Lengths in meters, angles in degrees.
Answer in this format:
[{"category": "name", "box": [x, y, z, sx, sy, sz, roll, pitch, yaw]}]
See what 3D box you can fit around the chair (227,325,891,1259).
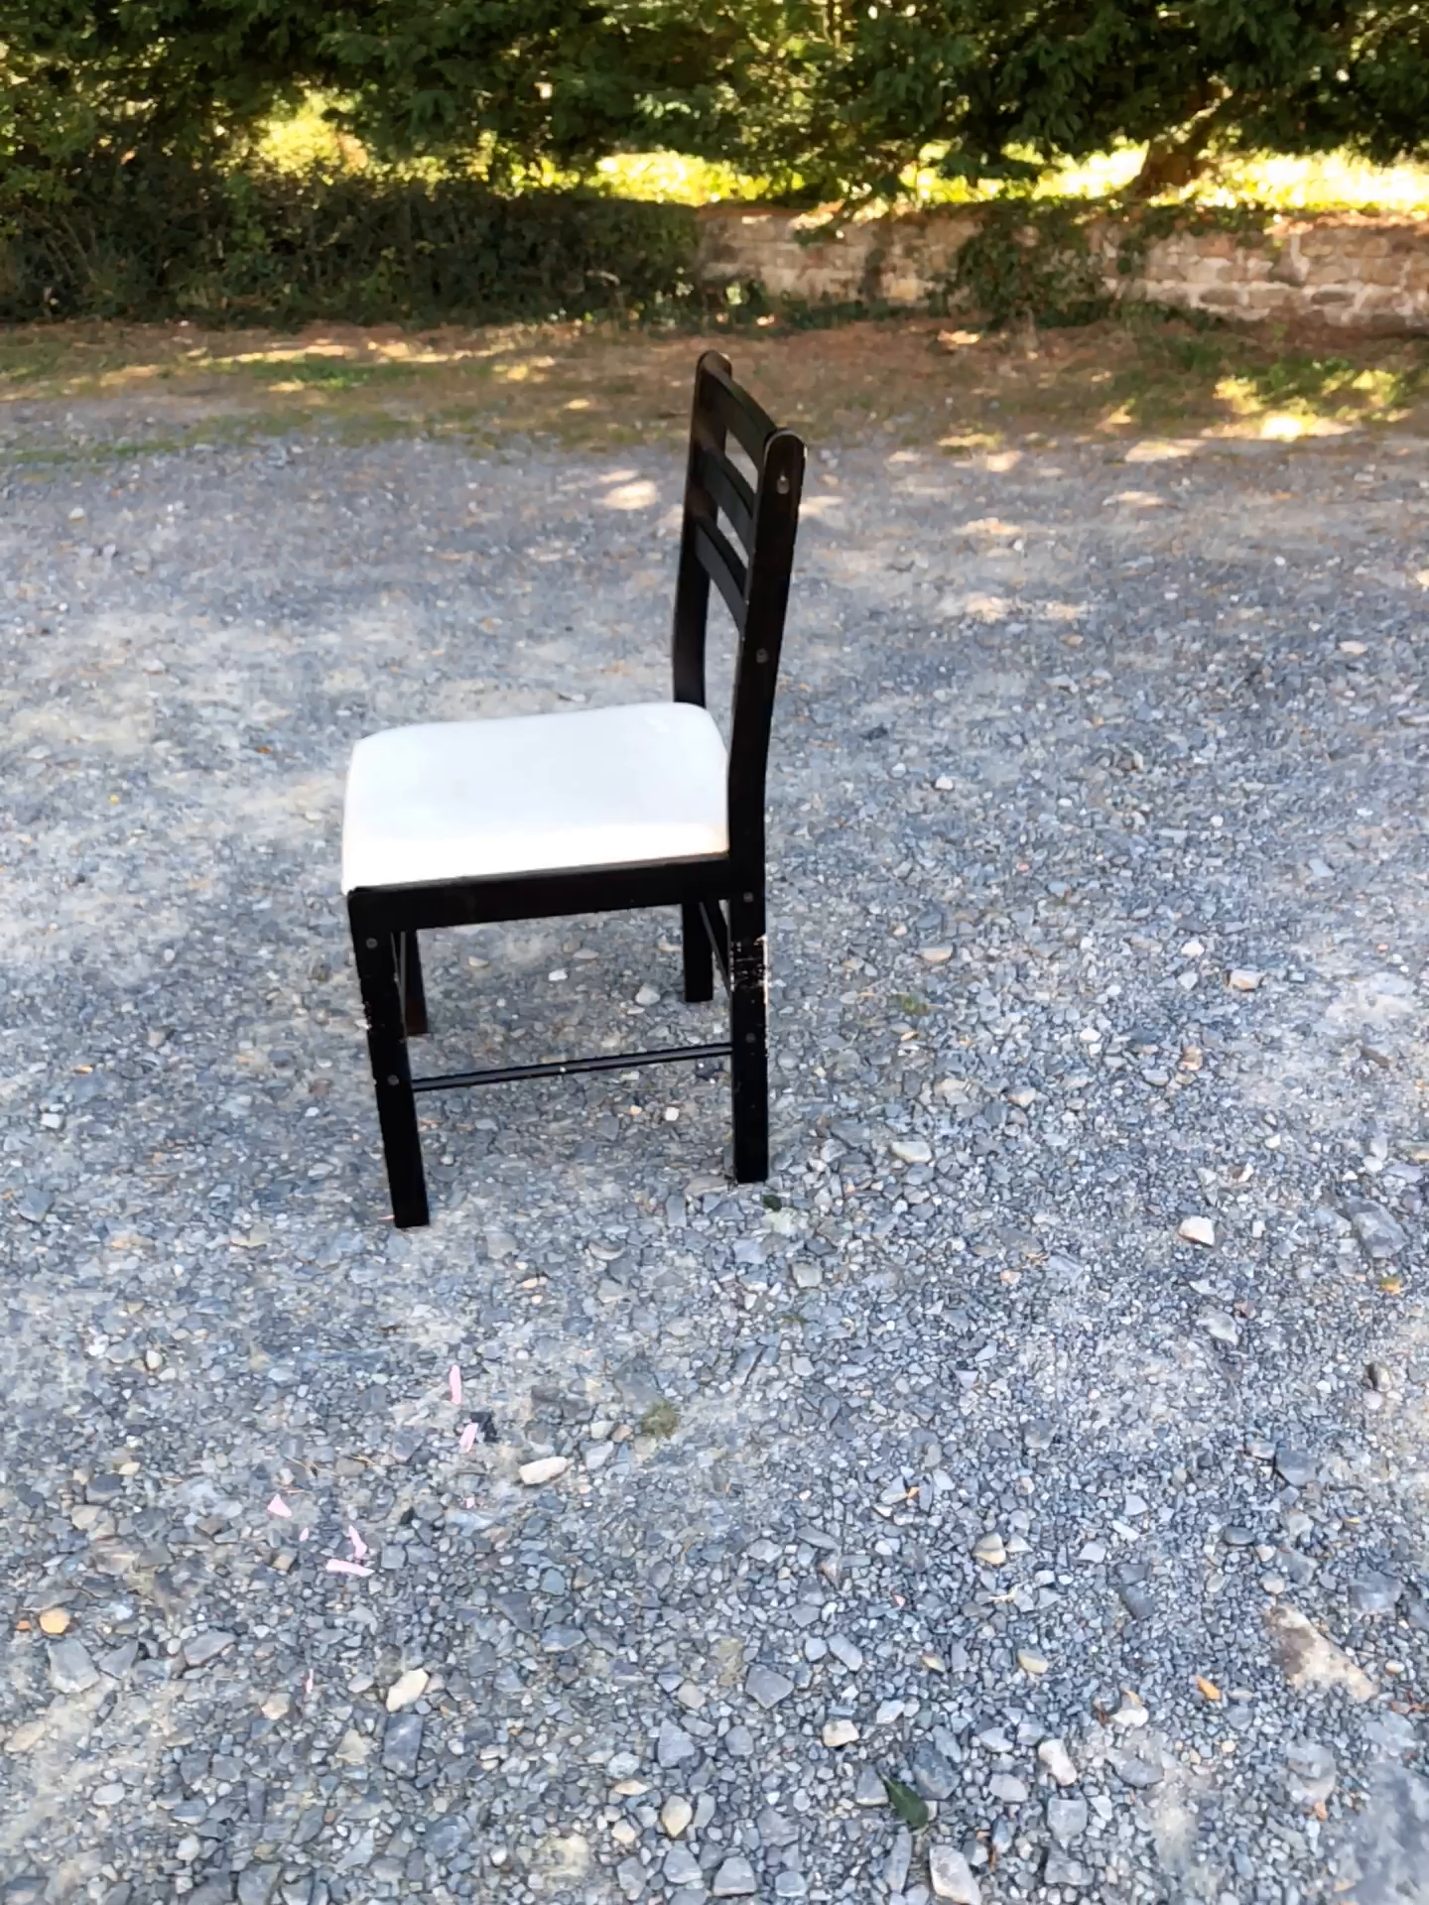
[{"category": "chair", "box": [-0.155, -0.189, 1.679, 0.530, 0.776, 0.543, -8, 33, -9]}]
